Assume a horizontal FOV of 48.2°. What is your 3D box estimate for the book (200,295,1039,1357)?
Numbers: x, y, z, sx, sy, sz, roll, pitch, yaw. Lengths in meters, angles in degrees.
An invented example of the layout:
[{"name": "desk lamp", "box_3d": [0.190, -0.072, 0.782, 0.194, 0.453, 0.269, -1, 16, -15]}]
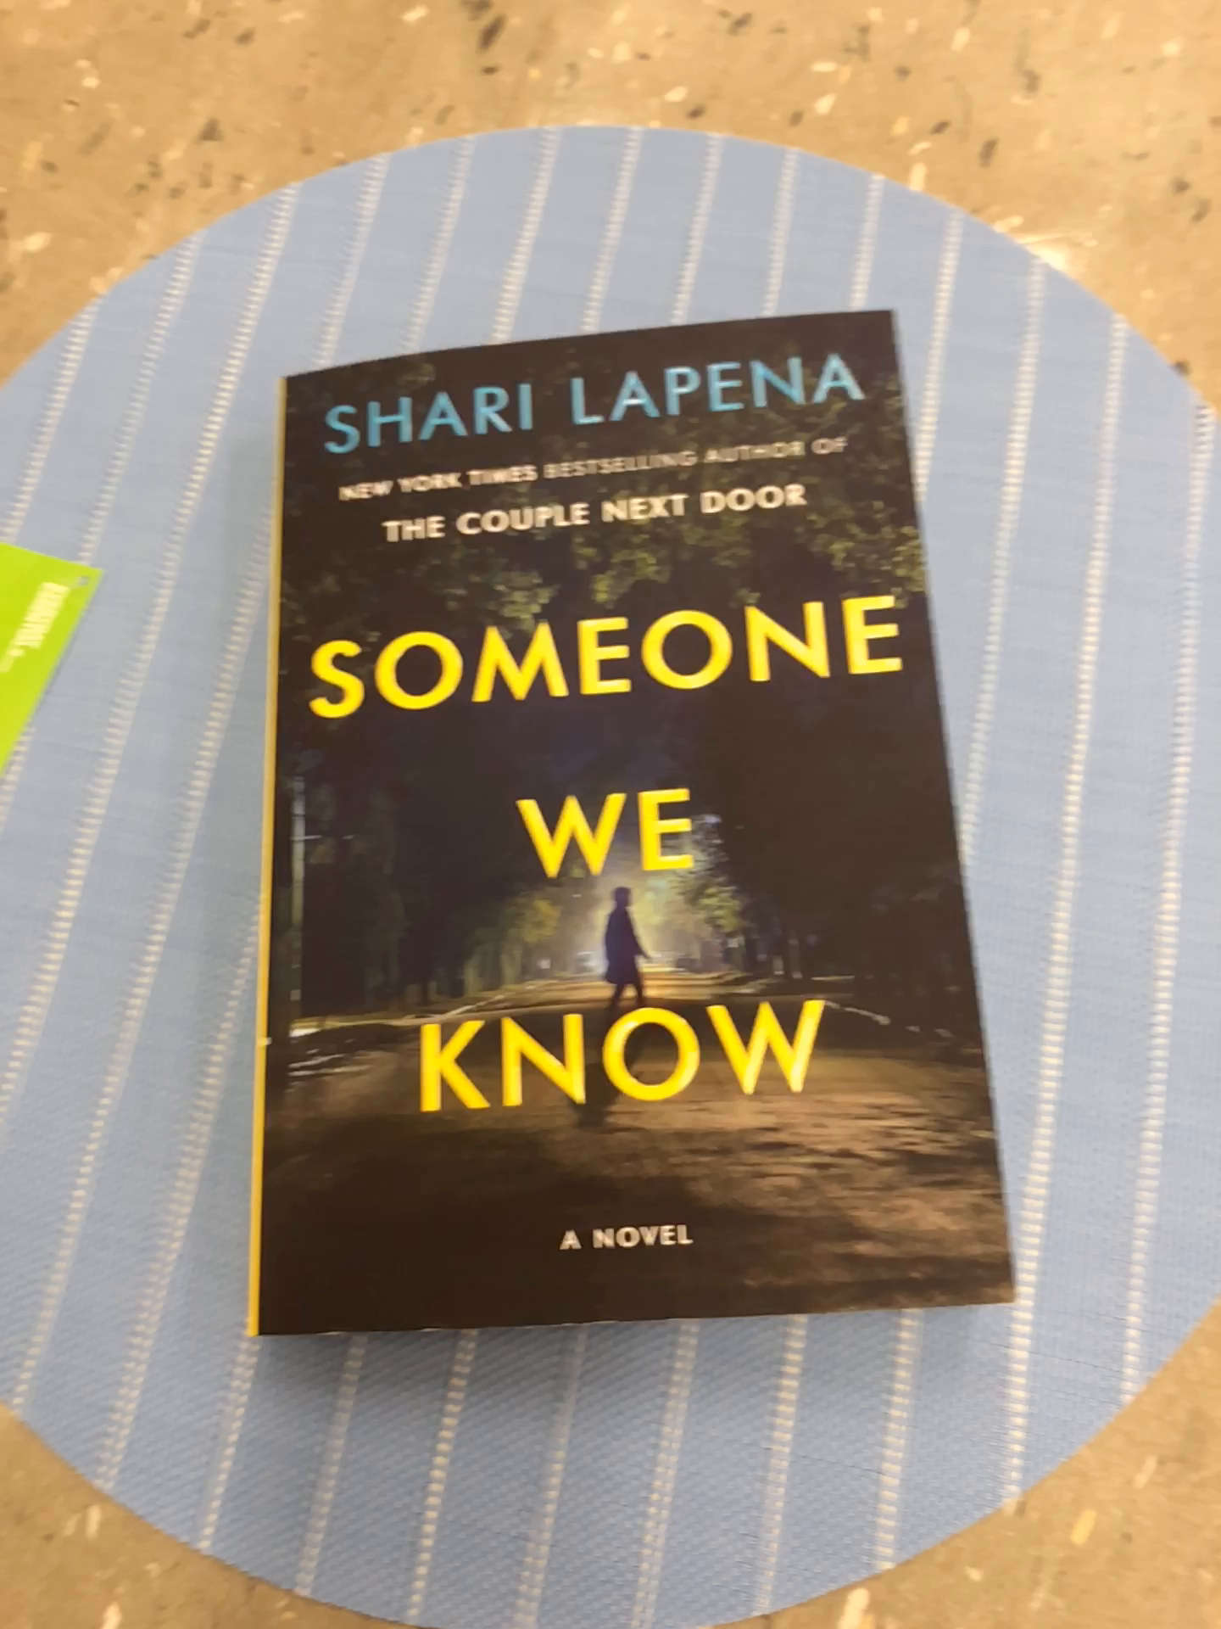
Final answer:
[{"name": "book", "box_3d": [-0.004, -0.003, 0.307, 0.161, 0.030, 0.225, -4, 73, 5]}]
